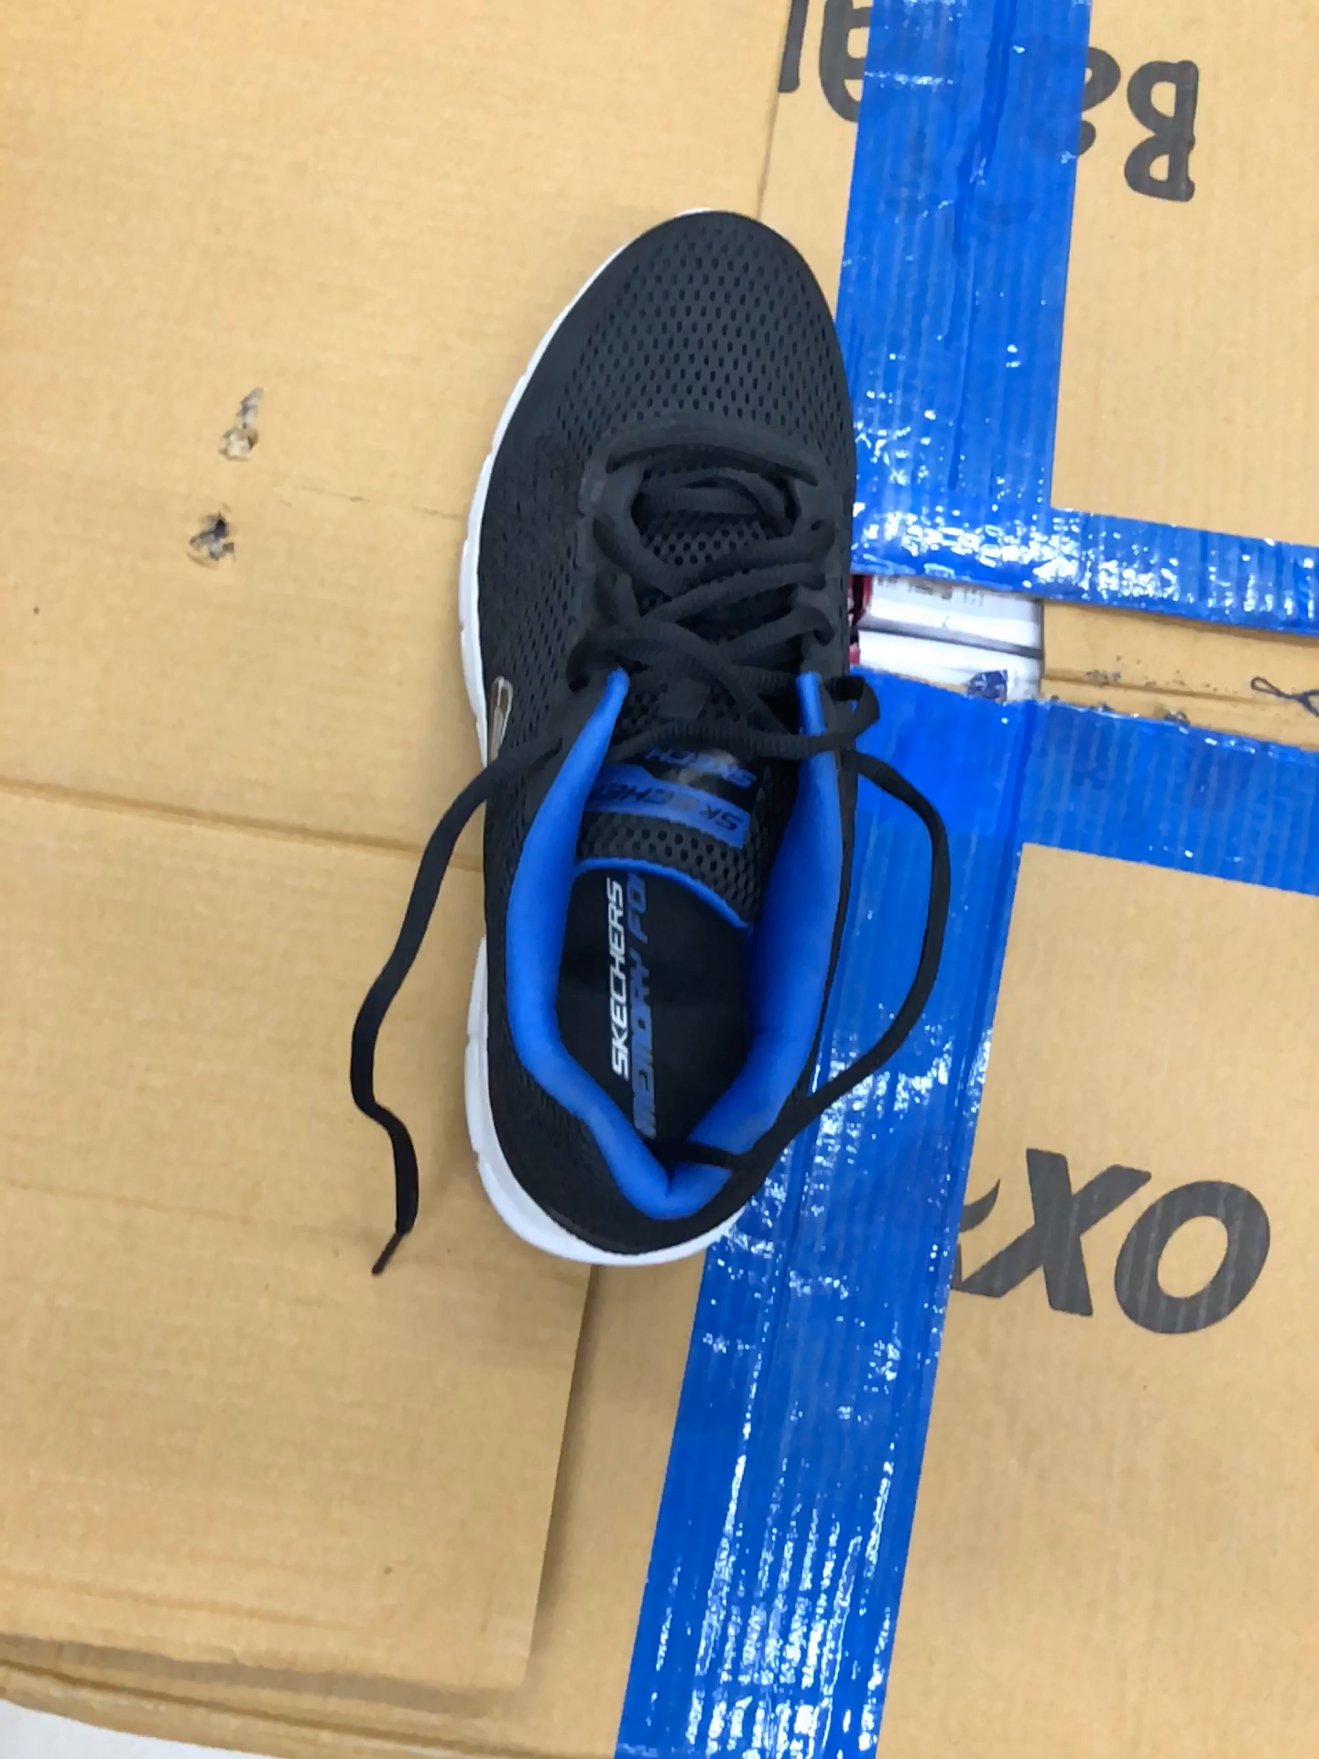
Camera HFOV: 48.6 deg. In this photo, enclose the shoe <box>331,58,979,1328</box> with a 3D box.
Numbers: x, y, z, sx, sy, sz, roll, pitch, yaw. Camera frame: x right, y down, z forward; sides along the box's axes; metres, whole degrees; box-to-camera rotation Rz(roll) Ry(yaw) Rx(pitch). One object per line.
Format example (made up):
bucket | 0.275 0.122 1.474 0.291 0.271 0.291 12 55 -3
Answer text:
shoe | 0.000 -0.039 0.380 0.110 0.130 0.270 7 82 -3
